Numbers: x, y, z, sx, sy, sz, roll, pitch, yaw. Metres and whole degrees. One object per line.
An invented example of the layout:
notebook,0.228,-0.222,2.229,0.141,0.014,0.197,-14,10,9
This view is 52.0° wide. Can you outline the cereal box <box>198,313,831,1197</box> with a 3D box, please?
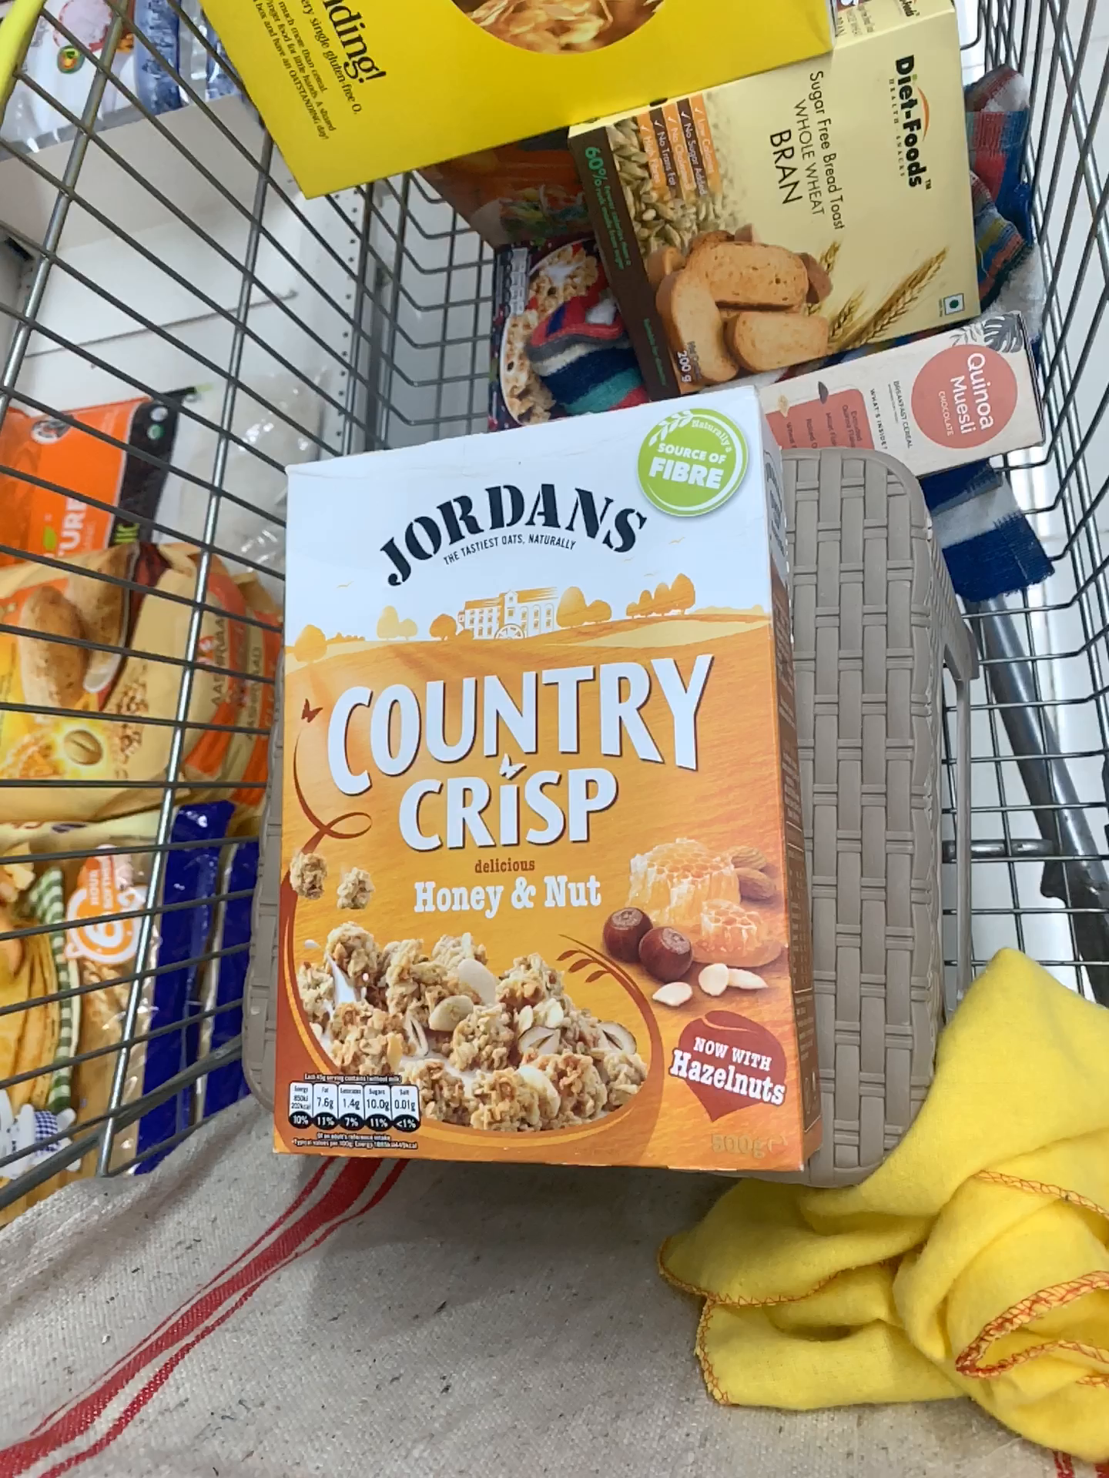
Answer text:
cereal box,-0.012,0.008,0.394,0.190,0.080,0.260,-4,79,16
